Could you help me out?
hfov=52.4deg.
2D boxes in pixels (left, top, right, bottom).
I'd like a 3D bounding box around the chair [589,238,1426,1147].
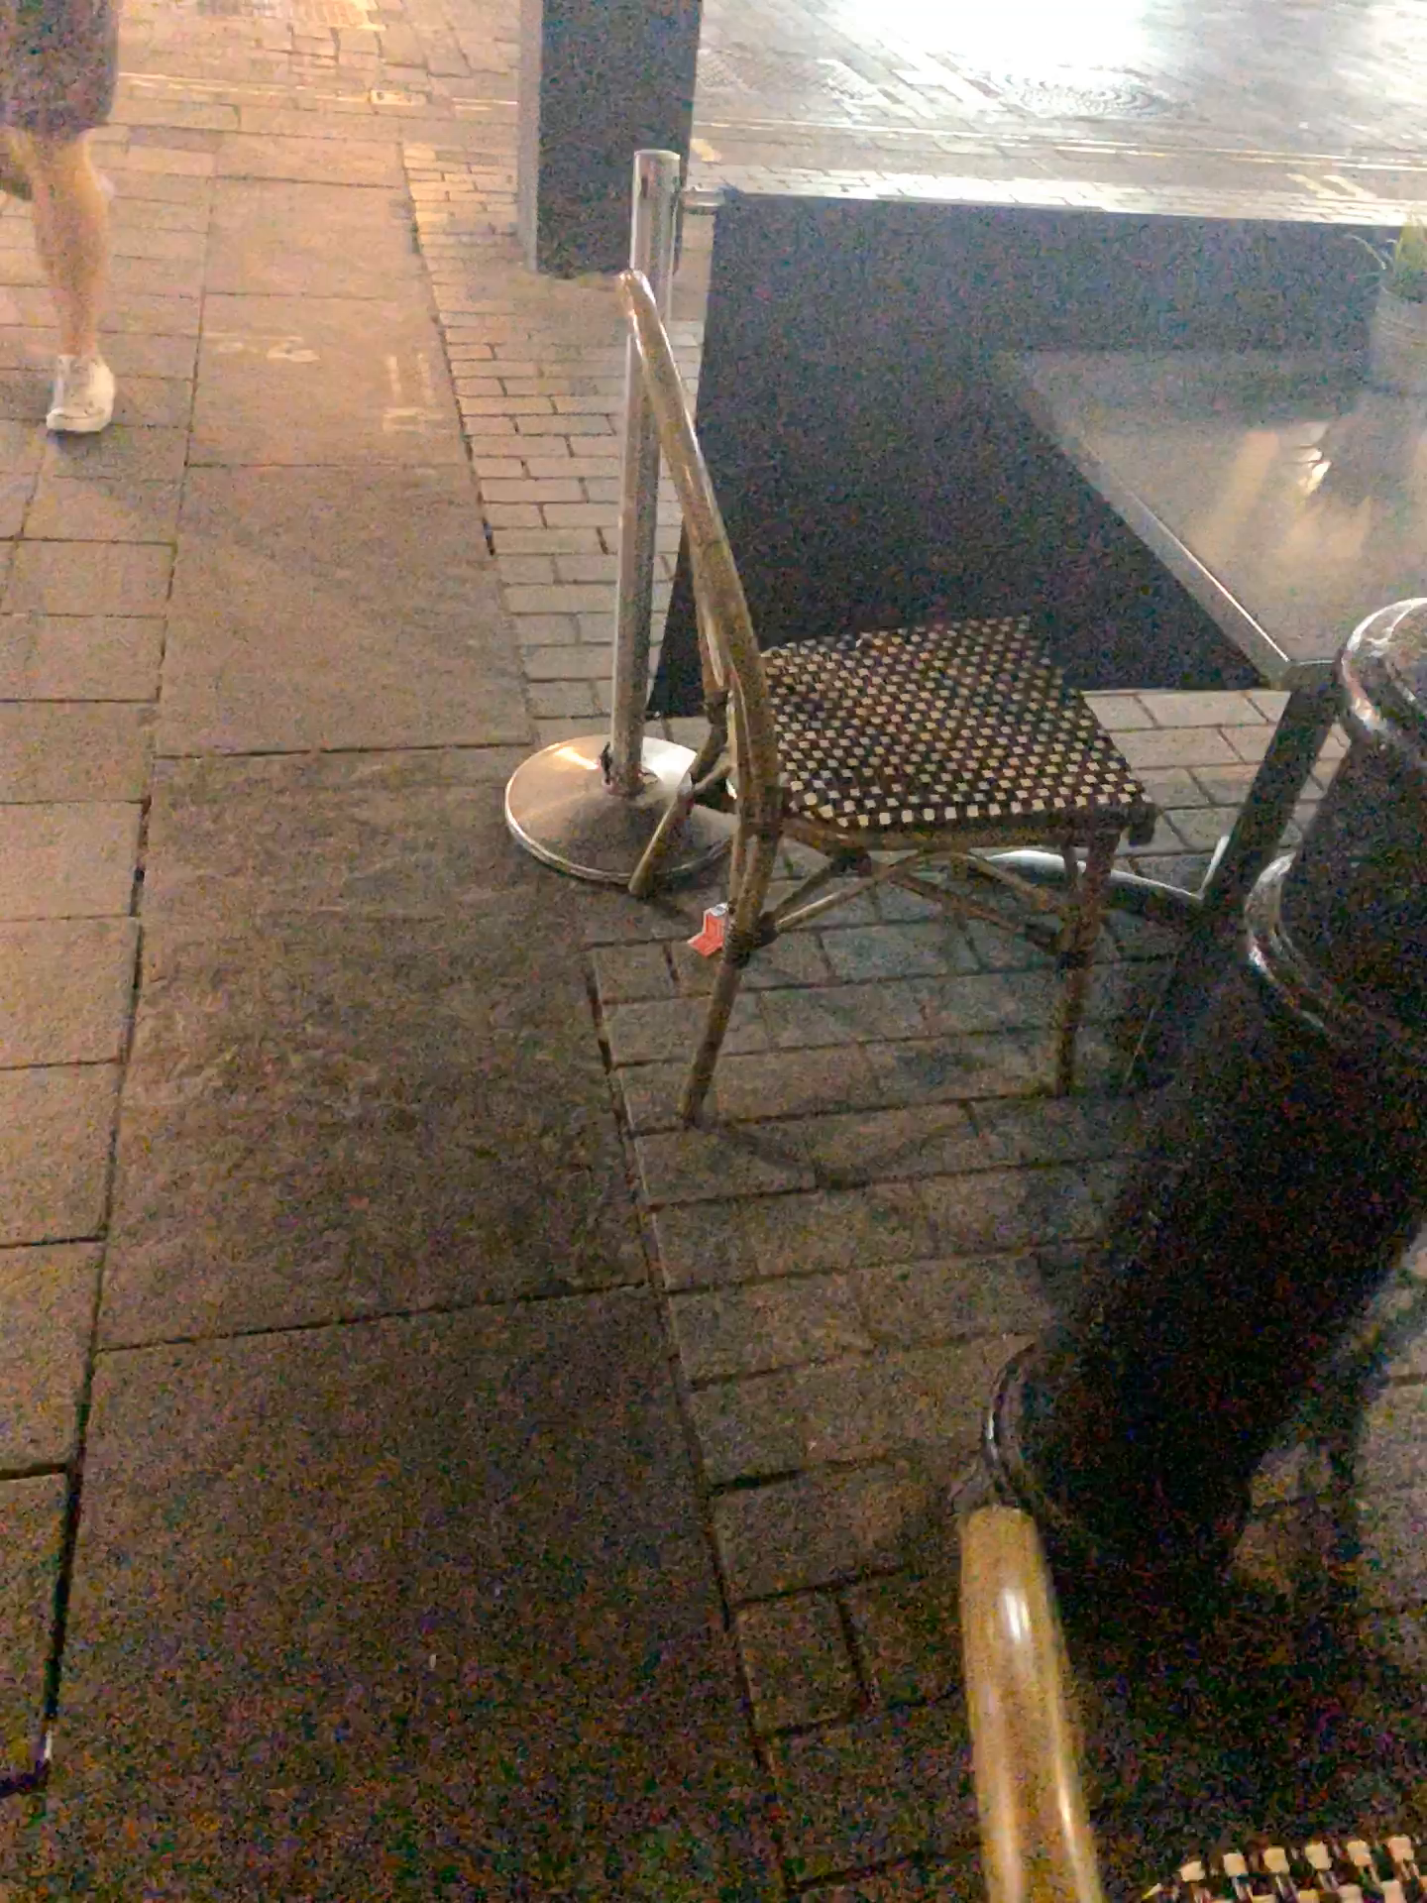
[{"bbox_3d":[0.216,-0.268,1.601,0.600,0.792,0.515,-4,43,-13],"label":"chair"}]
